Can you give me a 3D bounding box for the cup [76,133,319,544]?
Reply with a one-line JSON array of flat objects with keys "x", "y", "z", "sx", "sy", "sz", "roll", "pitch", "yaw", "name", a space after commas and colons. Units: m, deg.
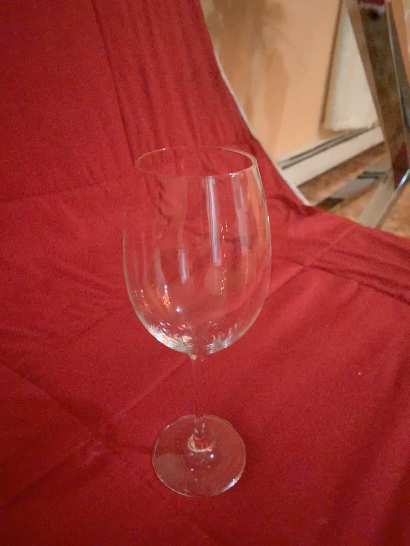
[{"x": -0.006, "y": 0.048, "z": 0.281, "sx": 0.083, "sy": 0.246, "sz": 0.094, "roll": 25, "pitch": 38, "yaw": 33, "name": "cup"}]
